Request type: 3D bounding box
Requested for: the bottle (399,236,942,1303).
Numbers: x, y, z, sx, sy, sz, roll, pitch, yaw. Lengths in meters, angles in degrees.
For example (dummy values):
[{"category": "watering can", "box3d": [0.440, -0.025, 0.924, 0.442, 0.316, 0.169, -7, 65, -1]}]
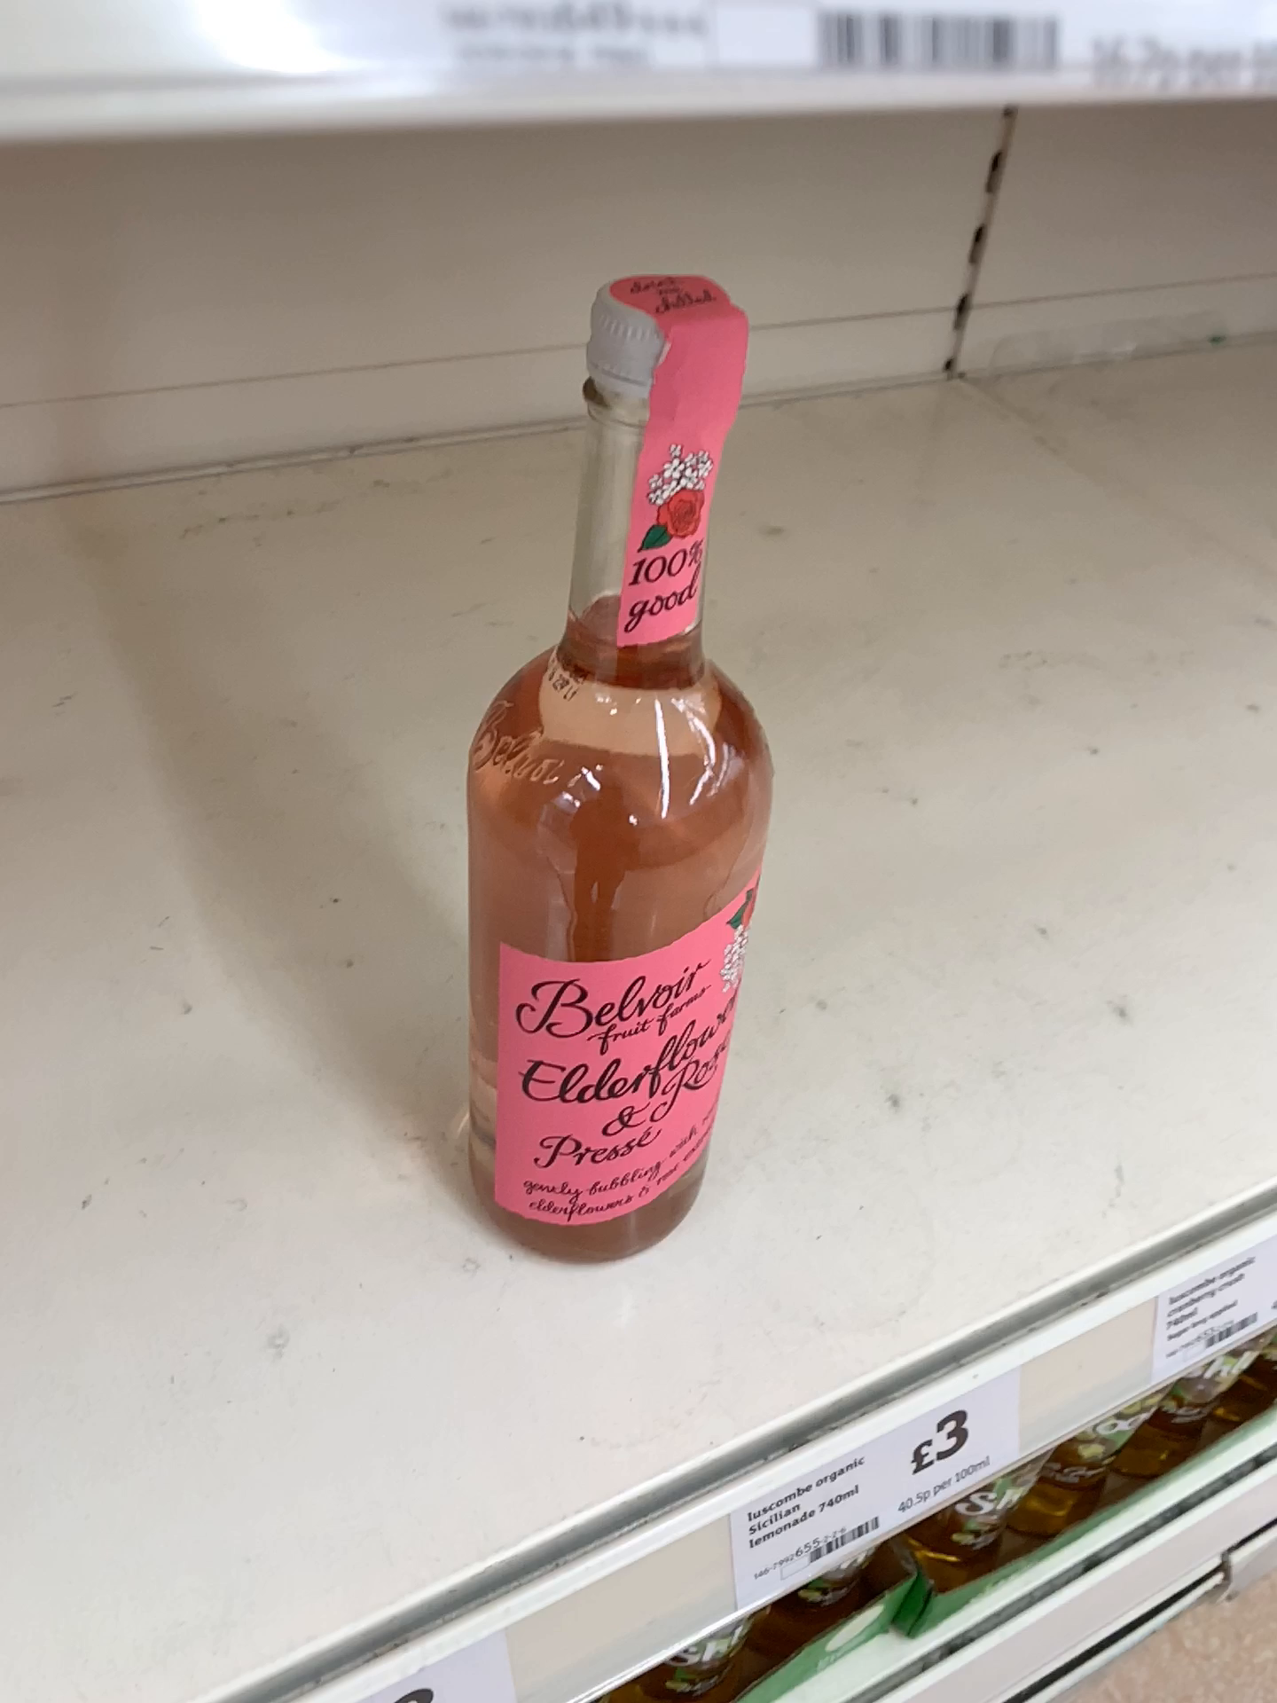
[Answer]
[{"category": "bottle", "box3d": [-0.009, -0.002, 0.343, 0.086, 0.274, 0.087, 3, 41, -3]}]
